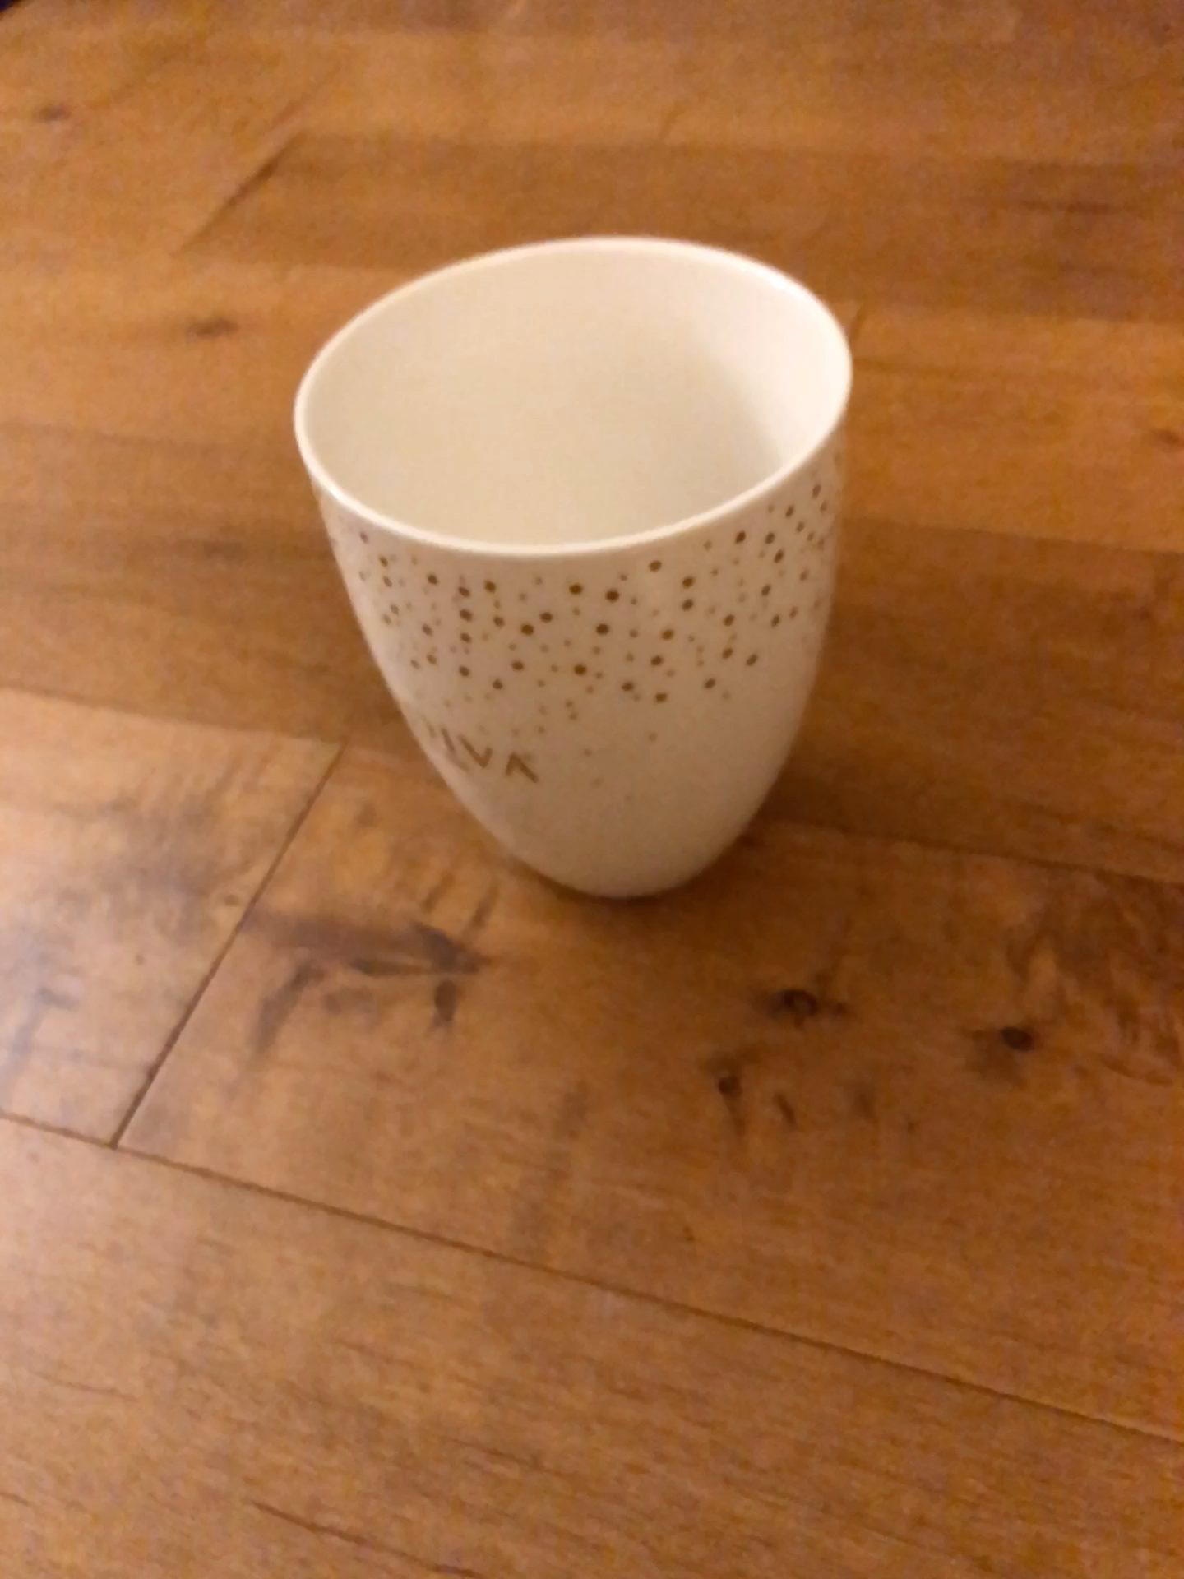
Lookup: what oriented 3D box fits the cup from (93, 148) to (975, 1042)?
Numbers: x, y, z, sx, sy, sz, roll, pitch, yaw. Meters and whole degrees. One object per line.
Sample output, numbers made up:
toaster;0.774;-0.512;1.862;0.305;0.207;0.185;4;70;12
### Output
cup;-0.012;-0.050;0.298;0.110;0.109;0.141;-34;52;-21
